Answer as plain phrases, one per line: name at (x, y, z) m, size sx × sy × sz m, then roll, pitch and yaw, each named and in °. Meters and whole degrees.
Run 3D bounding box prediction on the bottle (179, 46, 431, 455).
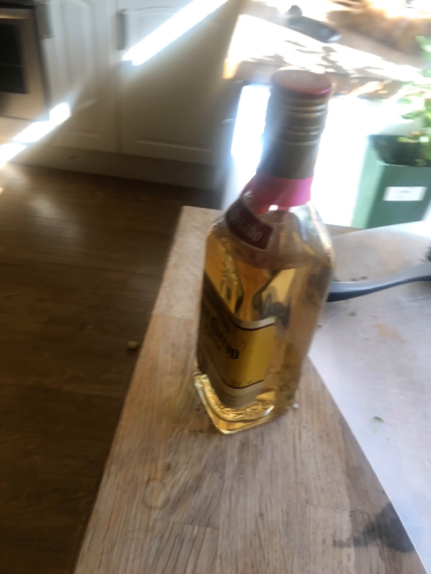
bottle at (0.031, -0.007, 0.282) m, size 0.070 × 0.228 × 0.080 m, roll -13°, pitch 45°, yaw -22°
